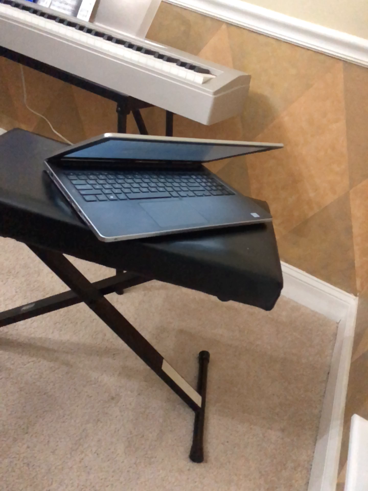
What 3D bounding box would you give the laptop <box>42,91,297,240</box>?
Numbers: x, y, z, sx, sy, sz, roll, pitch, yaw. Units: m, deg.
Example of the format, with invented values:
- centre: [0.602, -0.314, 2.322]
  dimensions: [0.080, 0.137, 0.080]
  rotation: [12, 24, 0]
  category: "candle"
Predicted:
- centre: [-0.026, -0.158, 0.753]
  dimensions: [0.377, 0.132, 0.256]
  rotation: [-9, 40, -37]
  category: "laptop"
